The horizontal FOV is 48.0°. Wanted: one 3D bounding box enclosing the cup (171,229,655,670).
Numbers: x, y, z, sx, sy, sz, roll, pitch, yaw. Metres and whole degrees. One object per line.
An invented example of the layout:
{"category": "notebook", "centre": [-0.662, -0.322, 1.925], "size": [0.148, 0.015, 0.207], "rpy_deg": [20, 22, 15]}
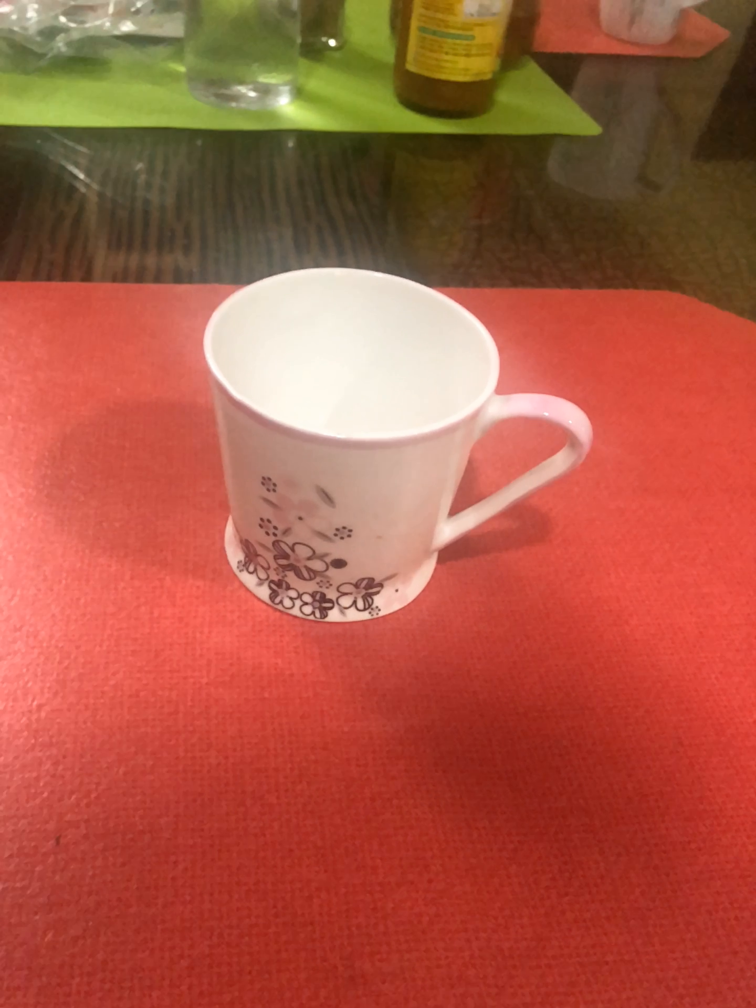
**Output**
{"category": "cup", "centre": [0.006, -0.014, 0.227], "size": [0.100, 0.080, 0.070], "rpy_deg": [7, 43, -1]}
